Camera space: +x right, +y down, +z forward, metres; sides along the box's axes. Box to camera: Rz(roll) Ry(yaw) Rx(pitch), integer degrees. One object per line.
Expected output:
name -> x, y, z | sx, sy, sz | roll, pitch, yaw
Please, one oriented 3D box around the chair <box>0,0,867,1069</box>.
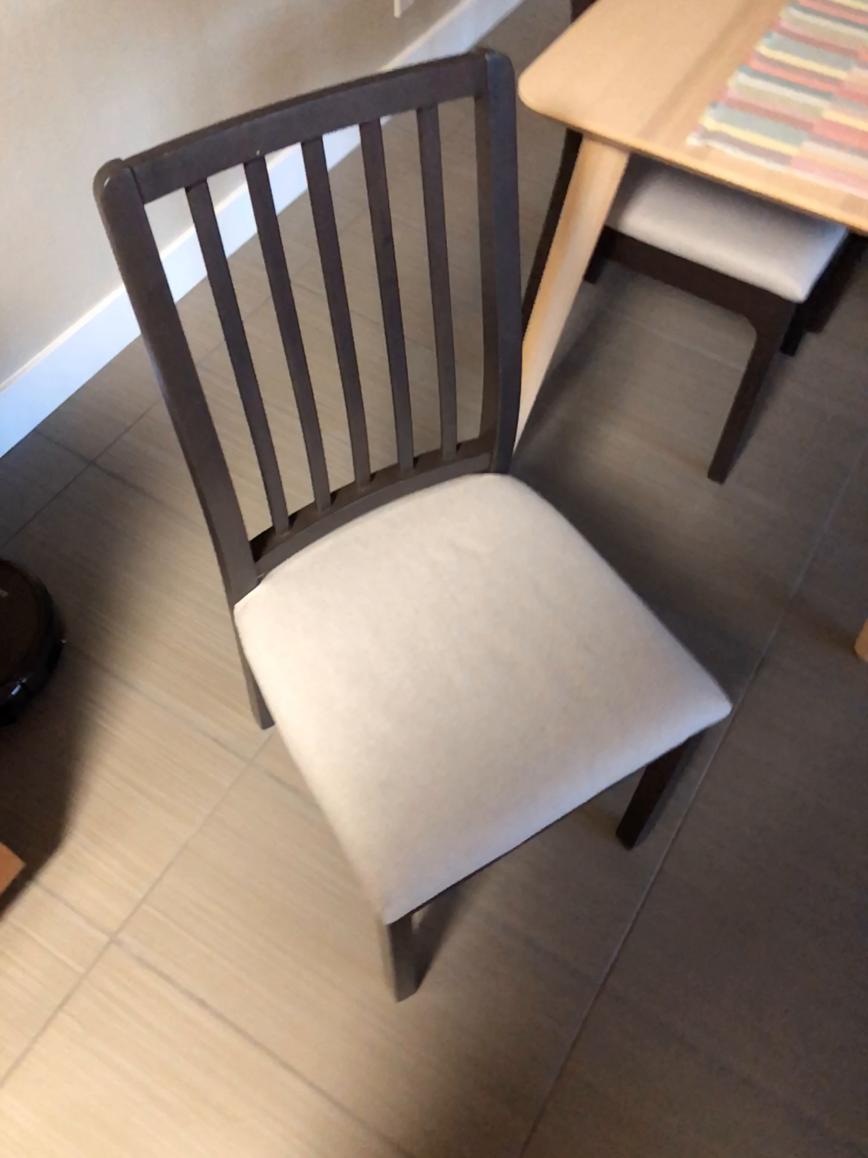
chair -> 0.027, 0.019, 1.027 | 0.580, 0.848, 0.591 | -27, 61, -18
